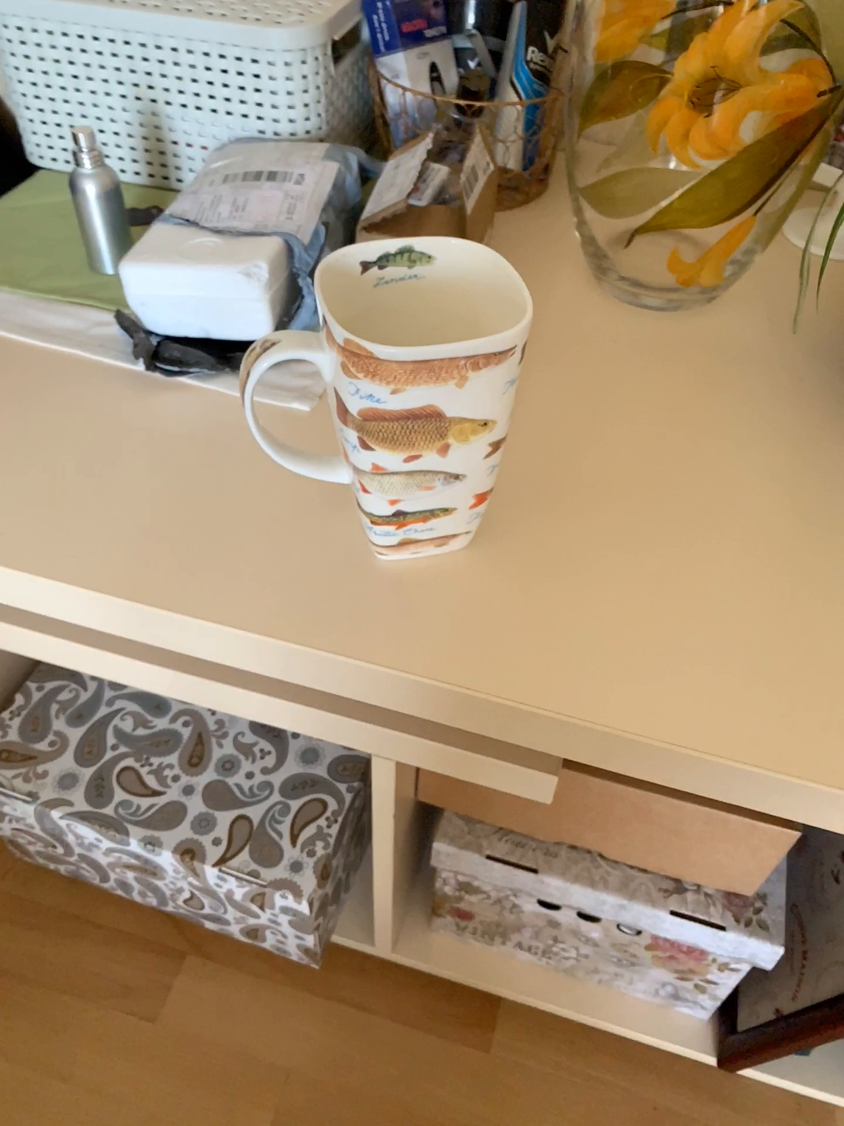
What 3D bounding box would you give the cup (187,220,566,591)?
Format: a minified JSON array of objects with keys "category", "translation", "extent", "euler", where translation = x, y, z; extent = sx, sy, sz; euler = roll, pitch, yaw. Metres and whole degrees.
[{"category":"cup","translation":[-0.025,-0.074,0.405],"extent":[0.139,0.121,0.092],"euler":[-11,48,-13]}]
